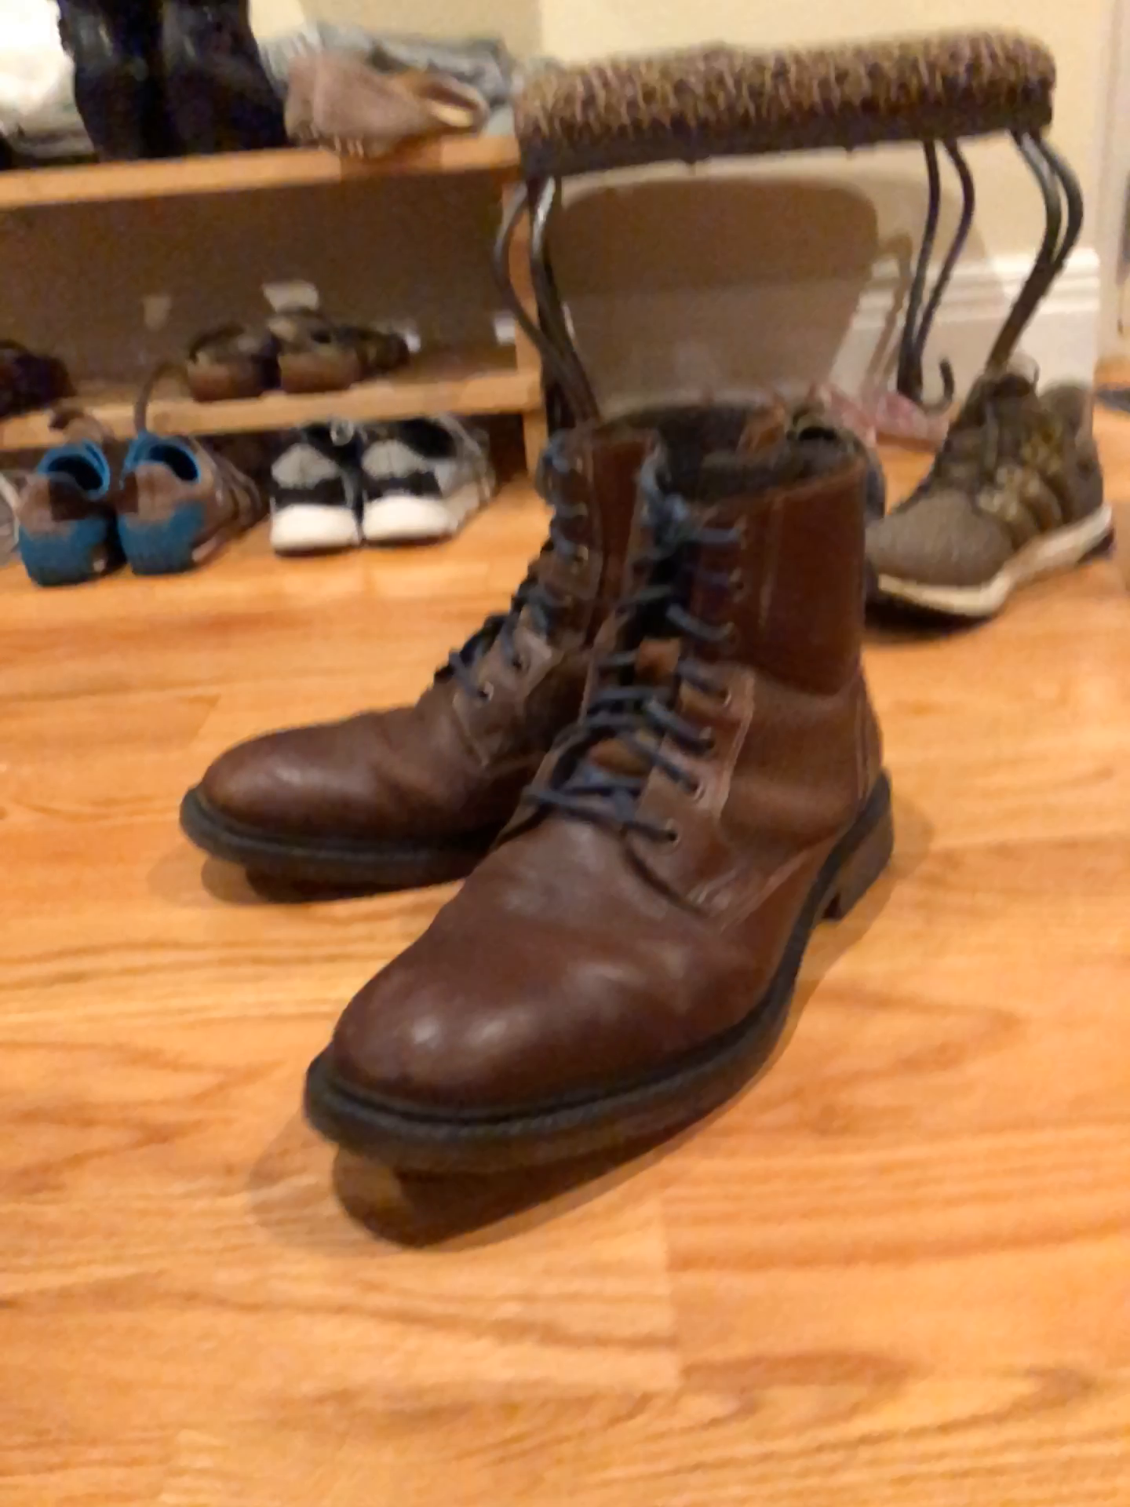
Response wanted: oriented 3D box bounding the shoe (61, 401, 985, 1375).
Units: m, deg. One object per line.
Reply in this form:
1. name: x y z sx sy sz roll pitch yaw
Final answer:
1. shoe: 0.023 0.002 0.415 0.128 0.176 0.304 12 30 33

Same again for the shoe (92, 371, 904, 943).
1. shoe: -0.023 -0.055 0.540 0.310 0.168 0.113 -12 25 -15
